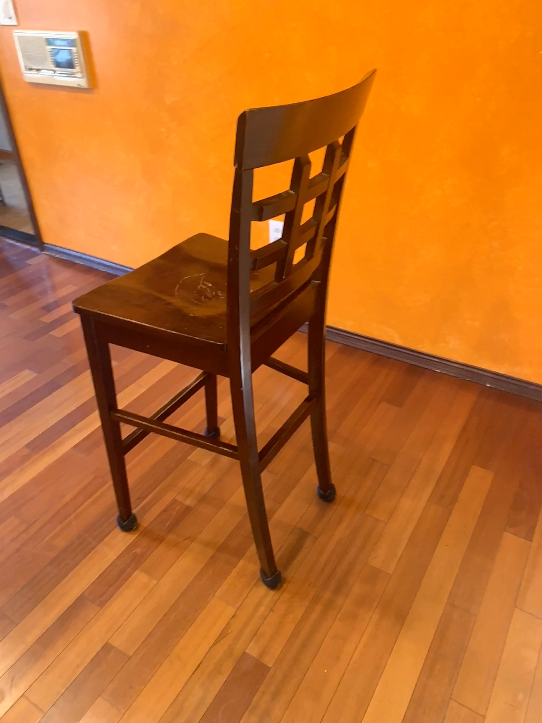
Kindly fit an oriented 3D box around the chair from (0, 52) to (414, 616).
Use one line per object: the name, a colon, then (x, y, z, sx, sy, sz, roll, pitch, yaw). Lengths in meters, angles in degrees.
chair: (-0.134, -0.083, 1.226, 0.593, 0.986, 0.534, 19, 38, 26)
